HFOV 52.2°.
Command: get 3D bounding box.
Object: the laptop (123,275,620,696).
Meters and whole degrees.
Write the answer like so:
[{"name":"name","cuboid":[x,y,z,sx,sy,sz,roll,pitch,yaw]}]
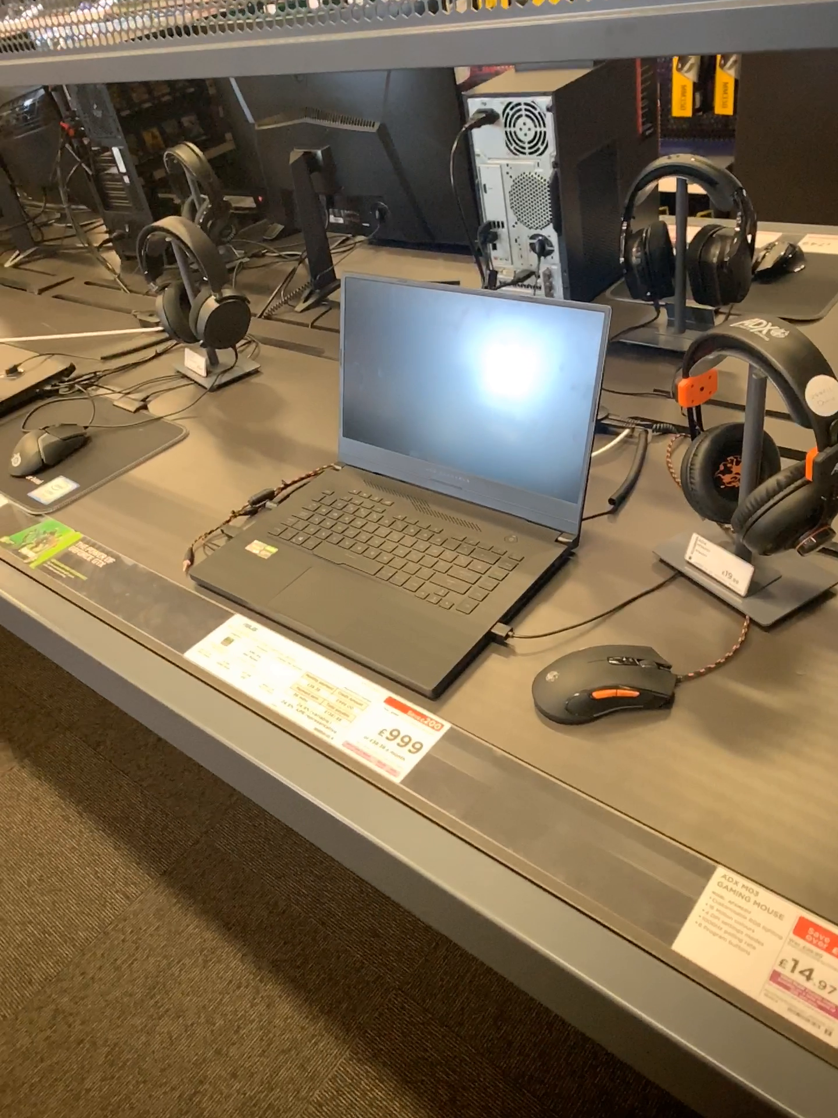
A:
[{"name":"laptop","cuboid":[-0.034,-0.106,0.875,0.349,0.203,0.325,21,49,34]}]
